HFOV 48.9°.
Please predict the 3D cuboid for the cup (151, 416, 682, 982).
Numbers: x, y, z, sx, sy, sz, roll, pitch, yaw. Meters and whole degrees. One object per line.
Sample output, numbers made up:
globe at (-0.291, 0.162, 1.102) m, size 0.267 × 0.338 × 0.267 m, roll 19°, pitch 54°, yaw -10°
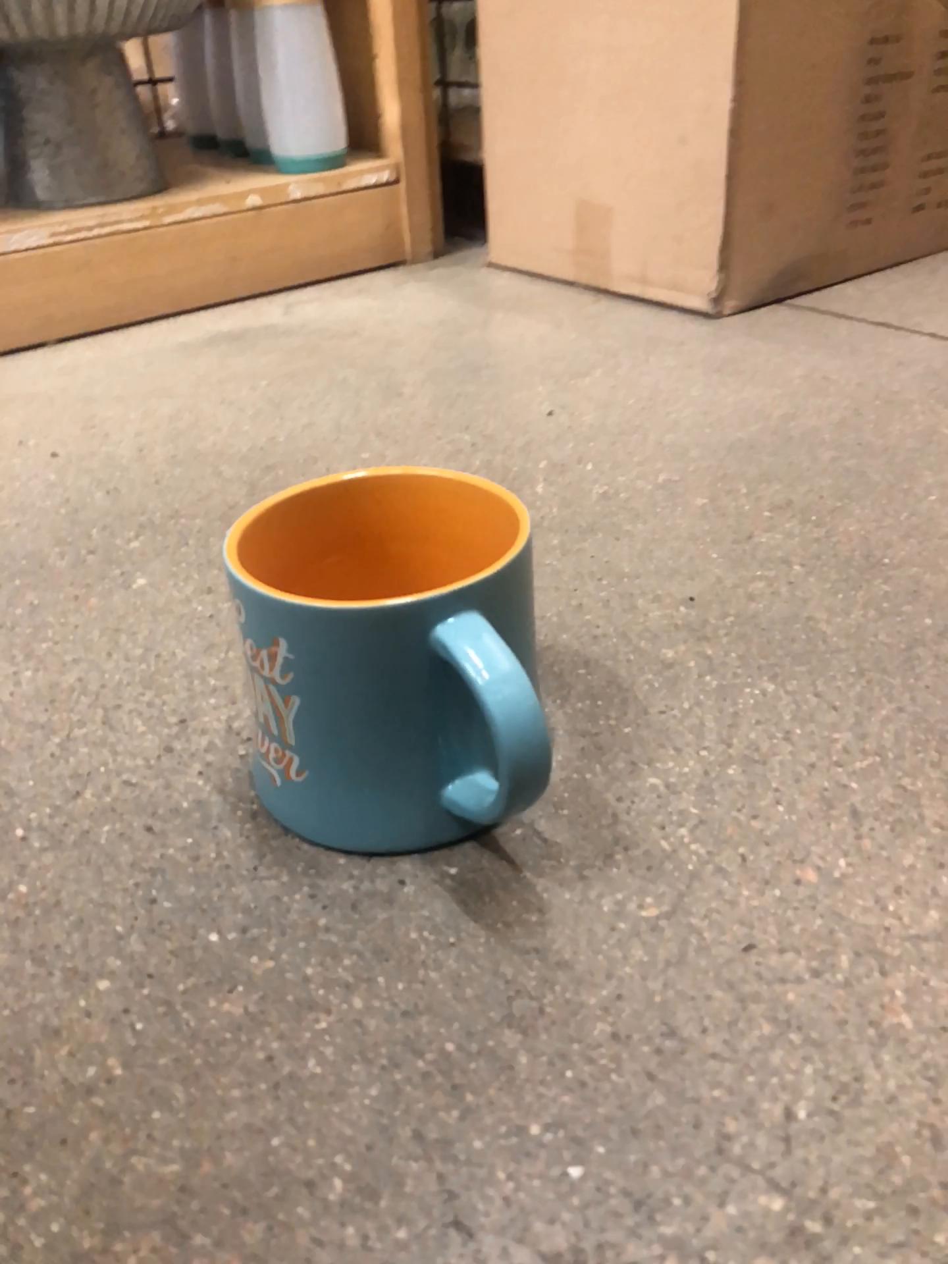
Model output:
cup at (-0.023, 0.008, 0.339) m, size 0.107 × 0.097 × 0.144 m, roll -19°, pitch 35°, yaw -23°
